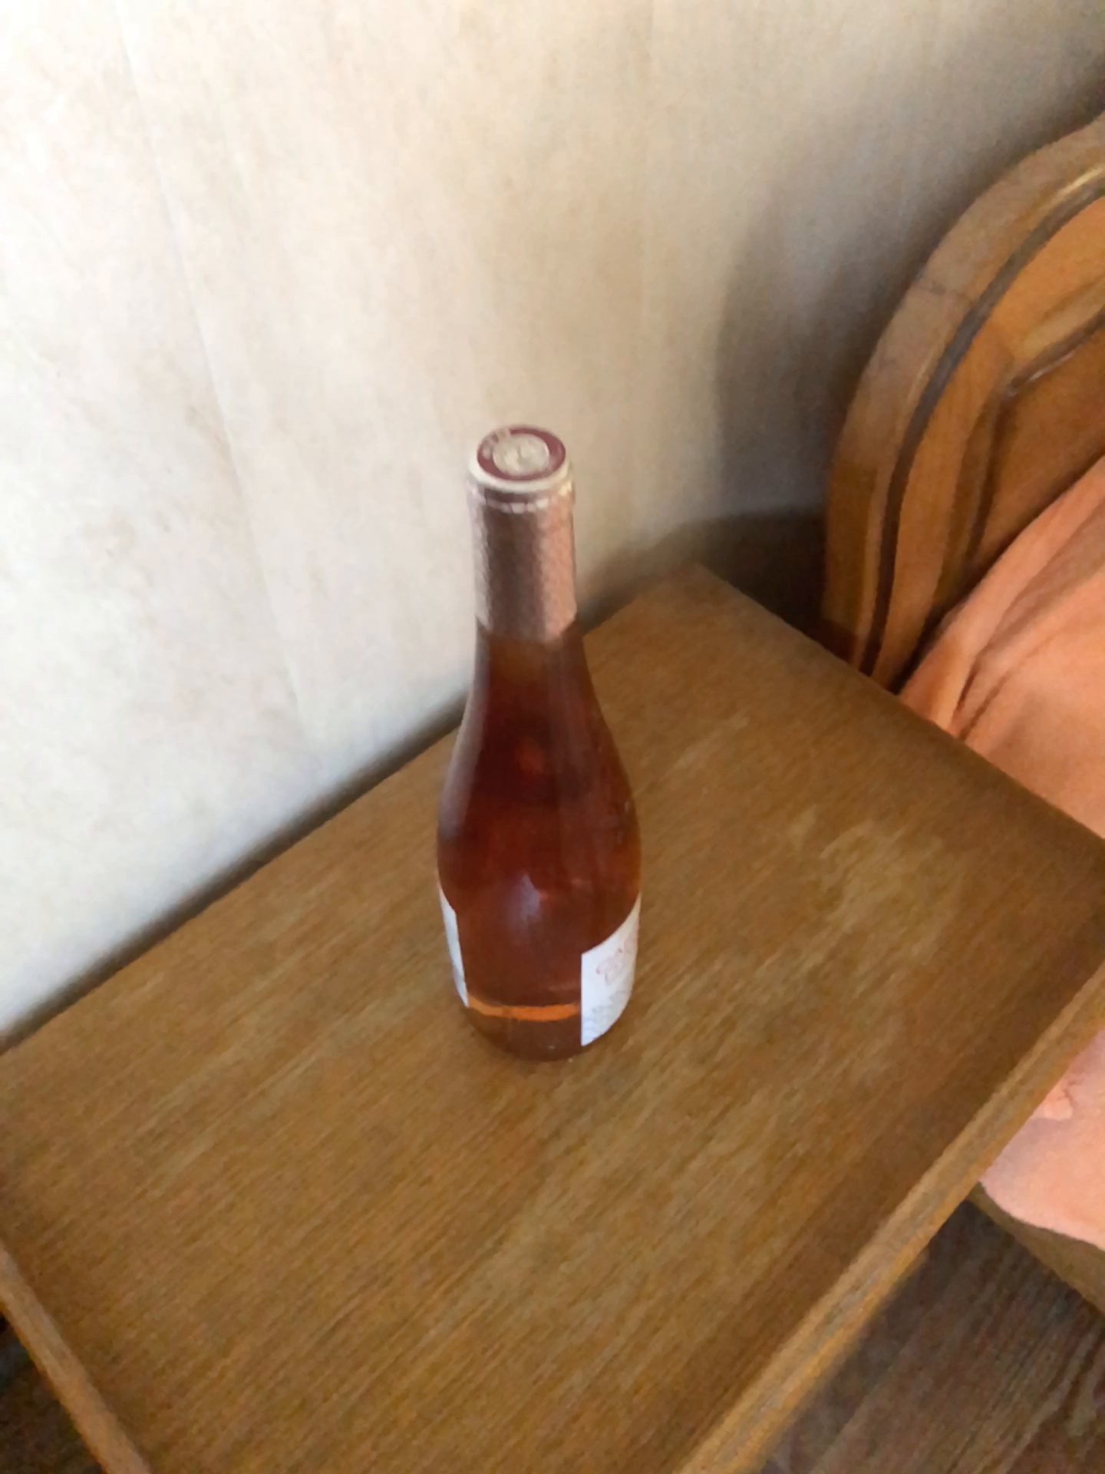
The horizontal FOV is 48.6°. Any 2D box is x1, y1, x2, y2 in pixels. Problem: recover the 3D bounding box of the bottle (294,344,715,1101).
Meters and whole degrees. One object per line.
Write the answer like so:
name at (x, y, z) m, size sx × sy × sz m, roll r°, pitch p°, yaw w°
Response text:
bottle at (-0.009, 0.019, 0.445) m, size 0.090 × 0.298 × 0.080 m, roll 16°, pitch 52°, yaw 14°
